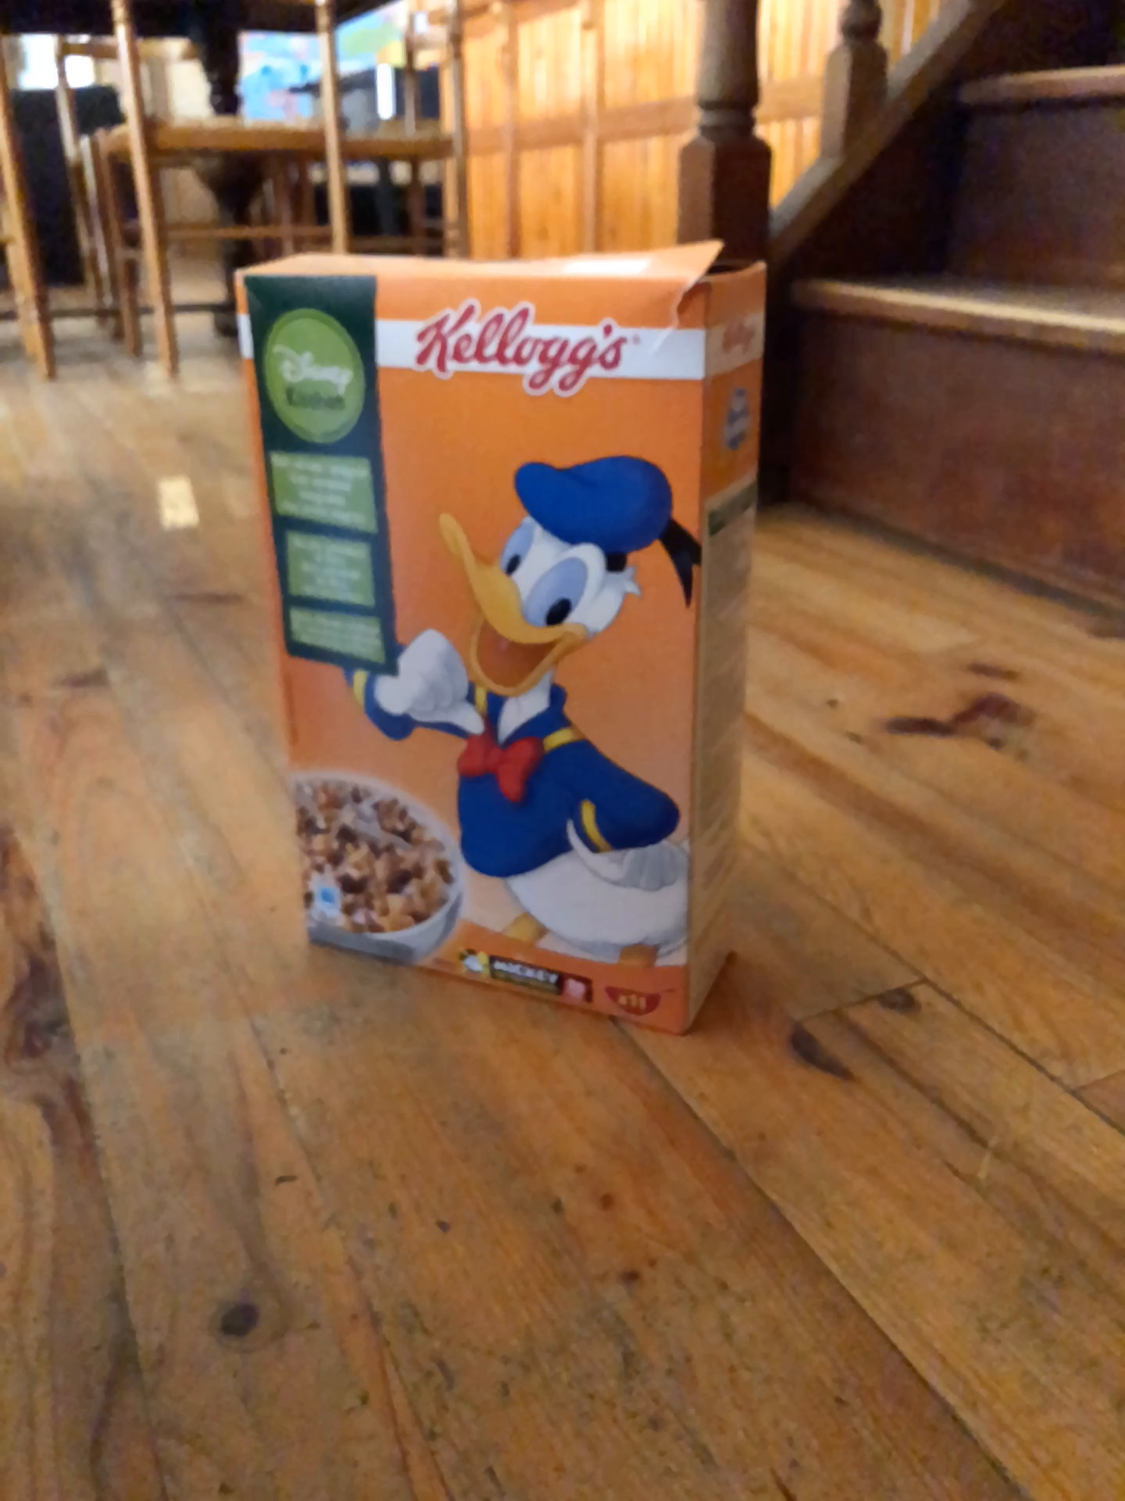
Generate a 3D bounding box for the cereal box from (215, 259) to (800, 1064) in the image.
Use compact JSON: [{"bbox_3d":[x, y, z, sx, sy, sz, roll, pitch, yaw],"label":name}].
[{"bbox_3d":[-0.021,-0.043,0.527,0.200,0.298,0.091,10,25,22],"label":"cereal box"}]
